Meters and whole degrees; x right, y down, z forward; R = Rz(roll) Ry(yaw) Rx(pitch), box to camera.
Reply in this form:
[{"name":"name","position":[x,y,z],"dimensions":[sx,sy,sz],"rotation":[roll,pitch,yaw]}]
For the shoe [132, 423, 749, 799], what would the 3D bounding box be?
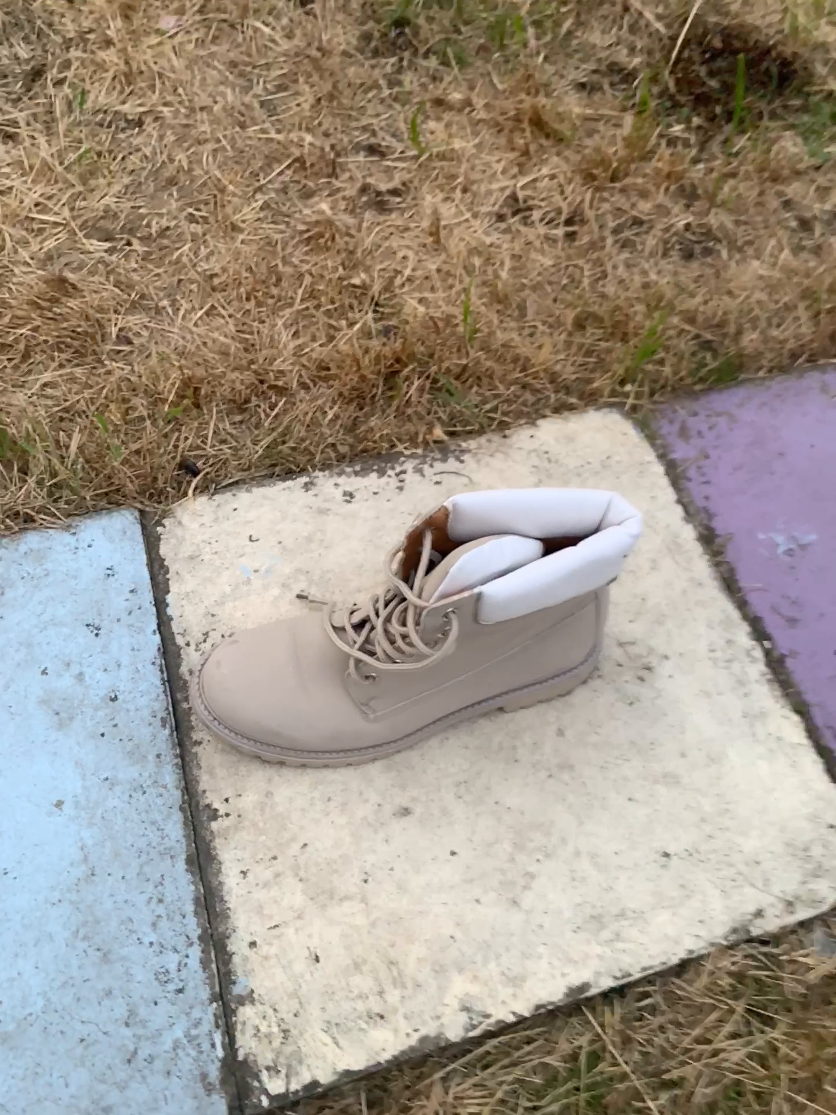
[{"name":"shoe","position":[0.003,0.040,0.494],"dimensions":[0.280,0.199,0.101],"rotation":[-8,62,-9]}]
